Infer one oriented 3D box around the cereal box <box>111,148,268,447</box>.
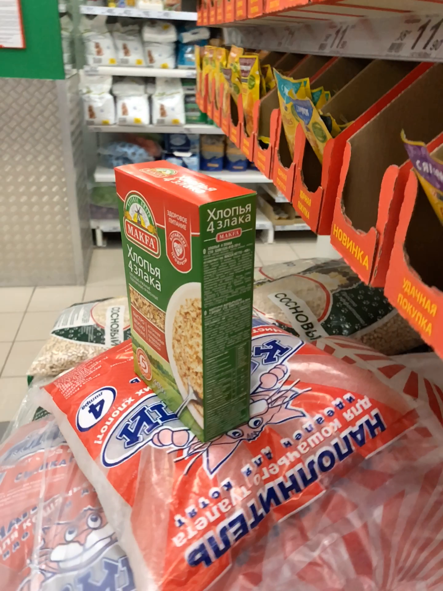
[{"bbox_3d":[-0.032,-0.002,0.425,0.050,0.219,0.140,-19,34,-33],"label":"cereal box"}]
